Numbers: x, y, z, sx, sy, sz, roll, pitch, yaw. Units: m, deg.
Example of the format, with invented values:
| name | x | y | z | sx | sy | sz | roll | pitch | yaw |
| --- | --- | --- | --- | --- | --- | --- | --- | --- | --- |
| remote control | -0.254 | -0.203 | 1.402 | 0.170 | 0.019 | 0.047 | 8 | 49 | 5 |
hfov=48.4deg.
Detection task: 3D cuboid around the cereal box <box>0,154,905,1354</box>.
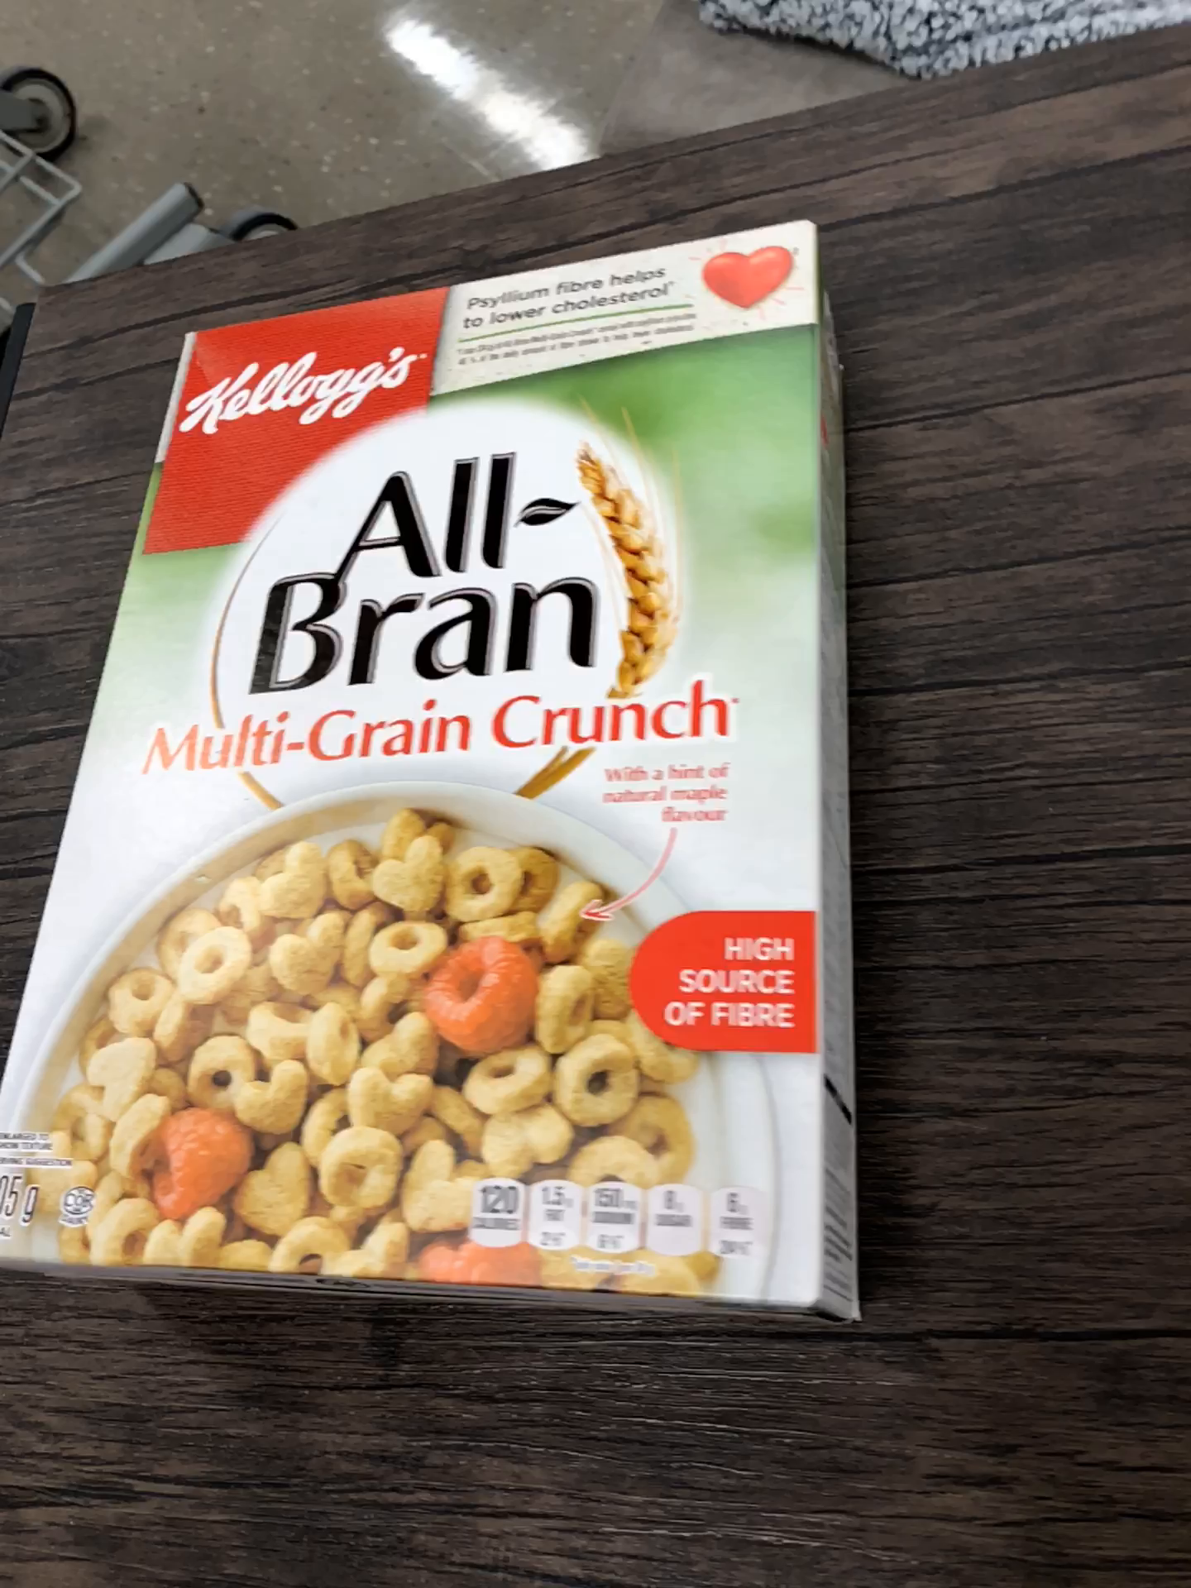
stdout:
| name | x | y | z | sx | sy | sz | roll | pitch | yaw |
| --- | --- | --- | --- | --- | --- | --- | --- | --- | --- |
| cereal box | -0.030 | -0.020 | 0.360 | 0.210 | 0.070 | 0.300 | -3 | 63 | 17 |
